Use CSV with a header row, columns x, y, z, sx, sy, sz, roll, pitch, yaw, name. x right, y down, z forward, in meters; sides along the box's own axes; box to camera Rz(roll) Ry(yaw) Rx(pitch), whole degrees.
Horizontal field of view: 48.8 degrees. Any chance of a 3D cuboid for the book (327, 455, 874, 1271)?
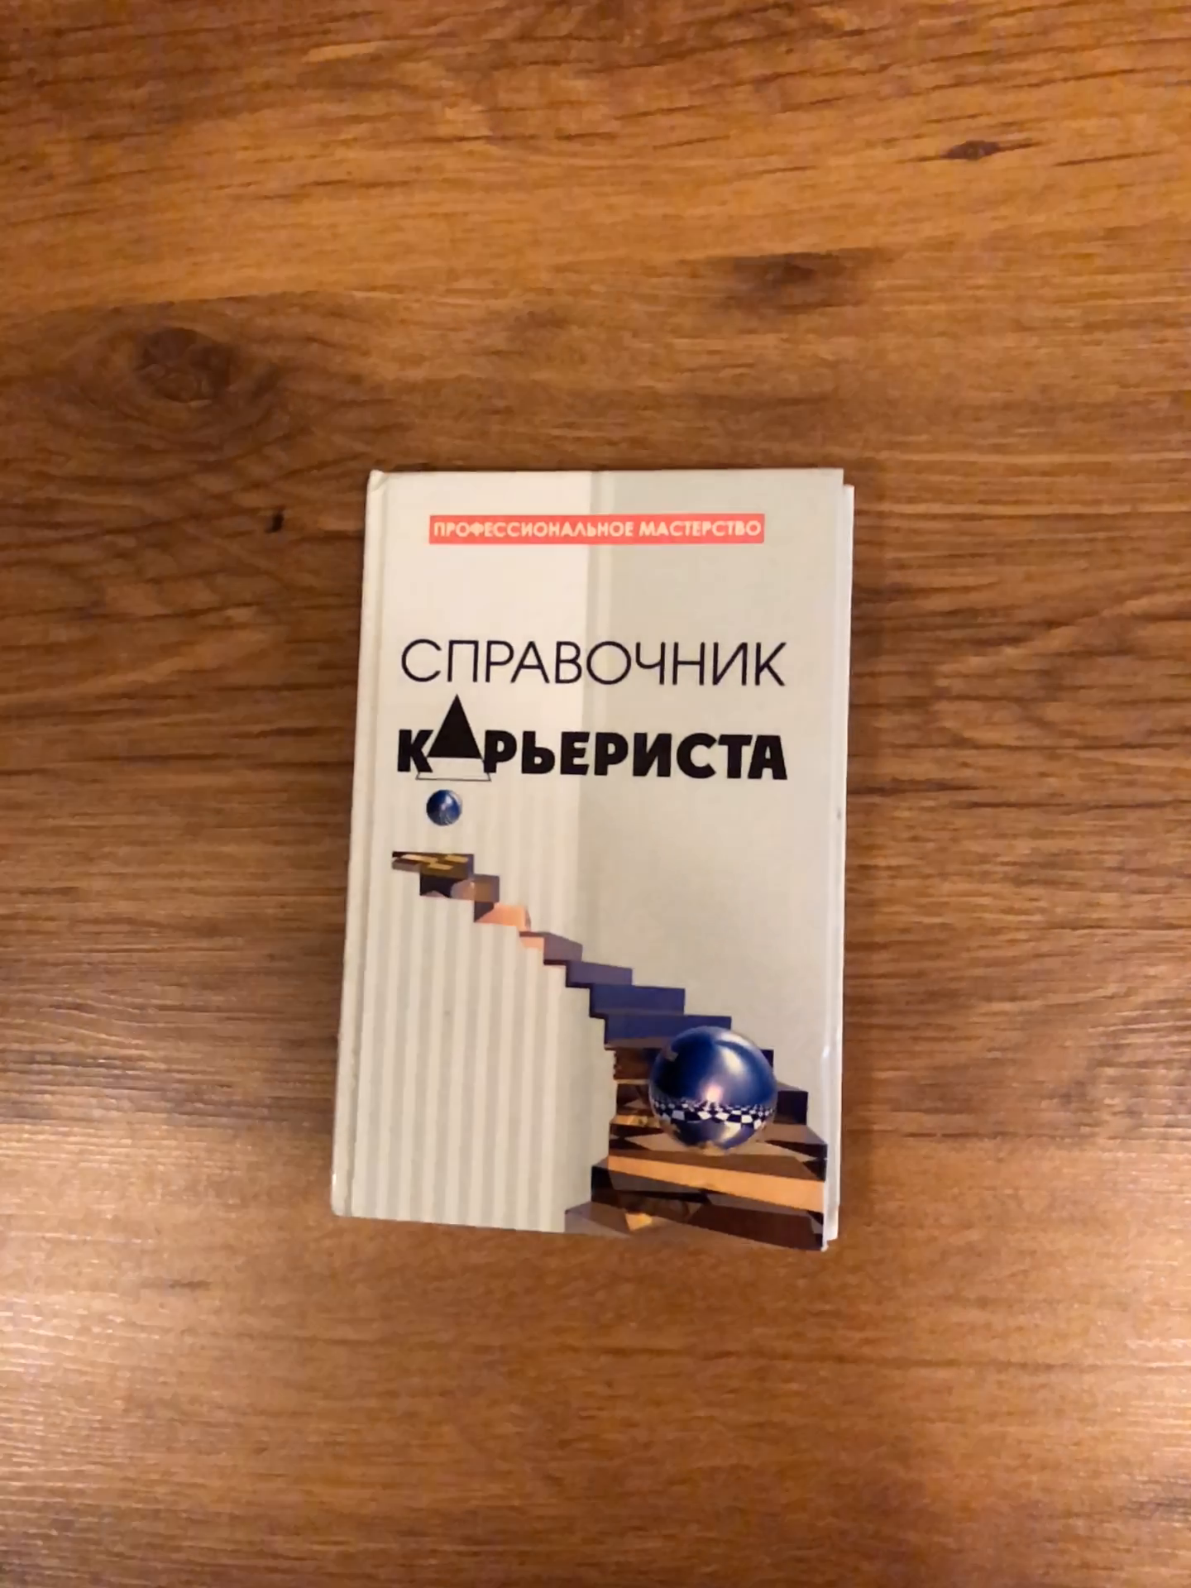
x,y,z,sx,sy,sz,roll,pitch,yaw,name
0.003,0.014,0.352,0.136,0.026,0.204,1,85,9,book
